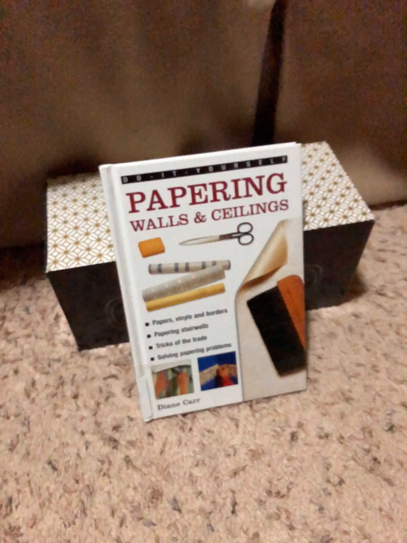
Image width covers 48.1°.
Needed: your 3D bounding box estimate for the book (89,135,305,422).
[{"bbox_3d":[0.005,0.012,0.348,0.143,0.207,0.015,-9,21,-7],"label":"book"}]
